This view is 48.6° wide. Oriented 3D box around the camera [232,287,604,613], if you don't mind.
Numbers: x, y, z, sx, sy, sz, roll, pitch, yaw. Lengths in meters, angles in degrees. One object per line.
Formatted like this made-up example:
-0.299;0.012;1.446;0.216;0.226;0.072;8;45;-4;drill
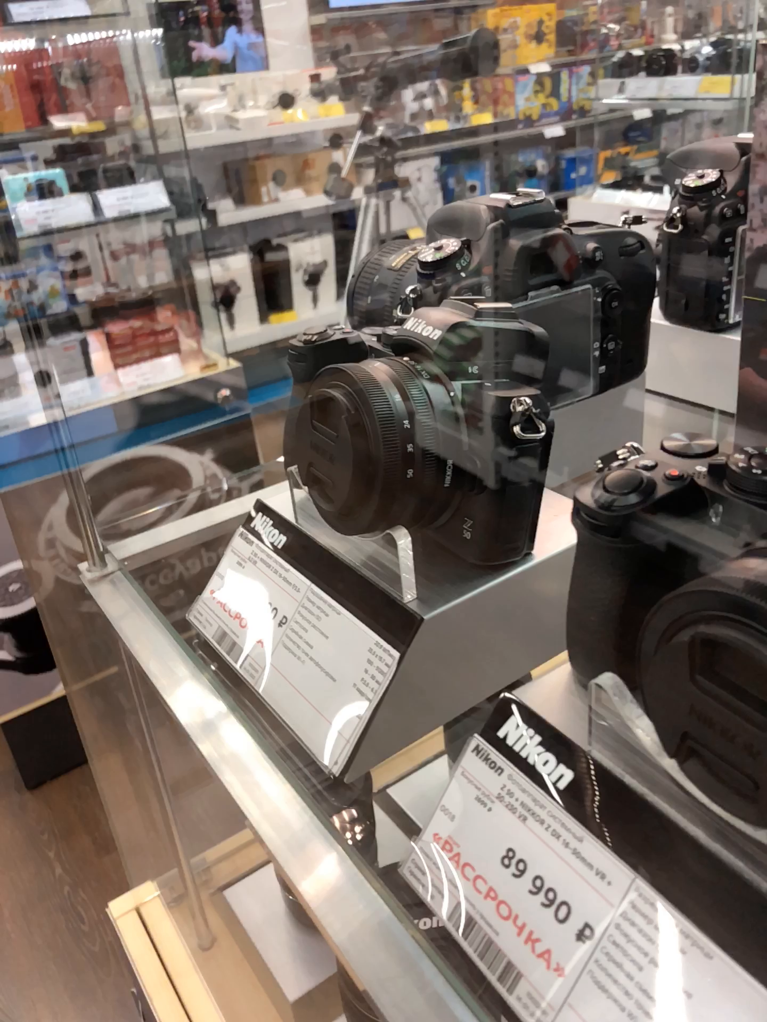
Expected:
0.005;-0.036;0.352;0.090;0.092;0.127;-10;26;-32;camera

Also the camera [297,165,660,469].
0.049;-0.120;0.483;0.129;0.111;0.150;-21;34;-24;camera
